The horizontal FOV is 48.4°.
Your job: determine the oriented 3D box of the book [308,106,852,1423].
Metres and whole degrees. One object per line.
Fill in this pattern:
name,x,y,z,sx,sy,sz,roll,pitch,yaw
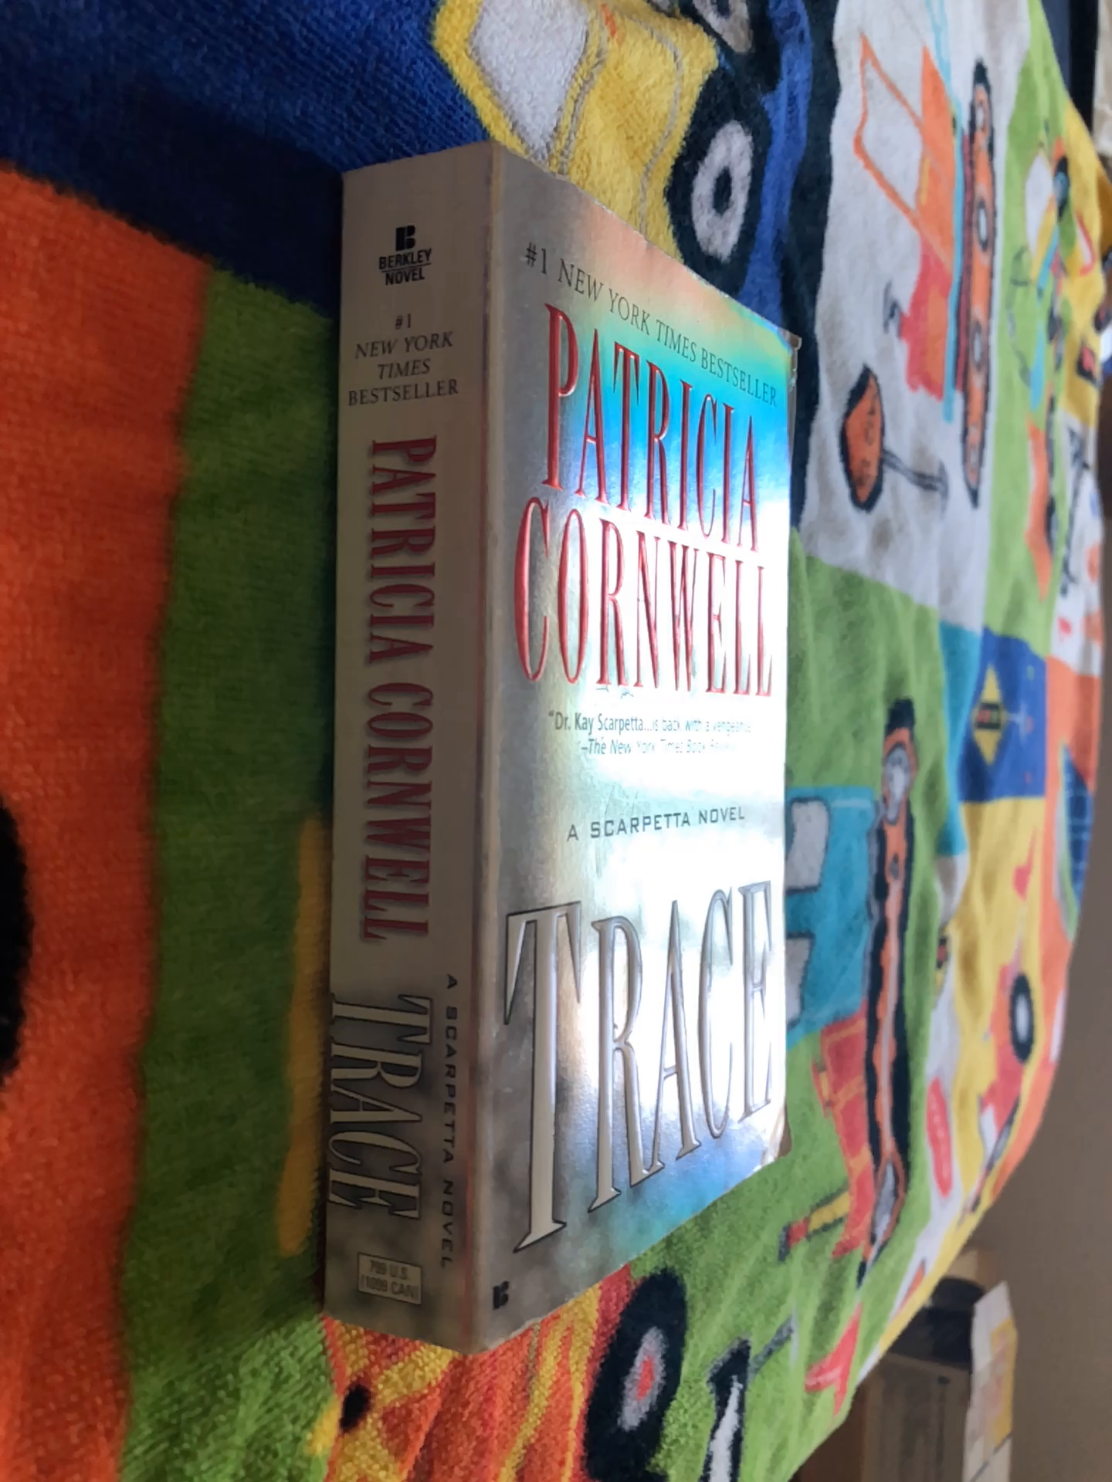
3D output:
book,0.013,0.003,0.230,0.121,0.040,0.180,2,89,-56
